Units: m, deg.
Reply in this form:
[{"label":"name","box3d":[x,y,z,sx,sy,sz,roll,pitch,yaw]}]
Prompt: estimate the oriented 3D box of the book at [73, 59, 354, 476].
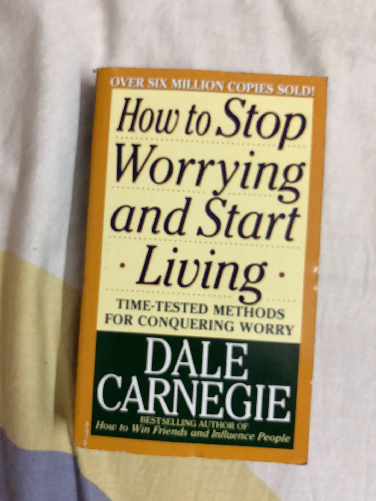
[{"label":"book","box3d":[0.012,0.007,0.206,0.110,0.050,0.170,3,88,-1]}]
